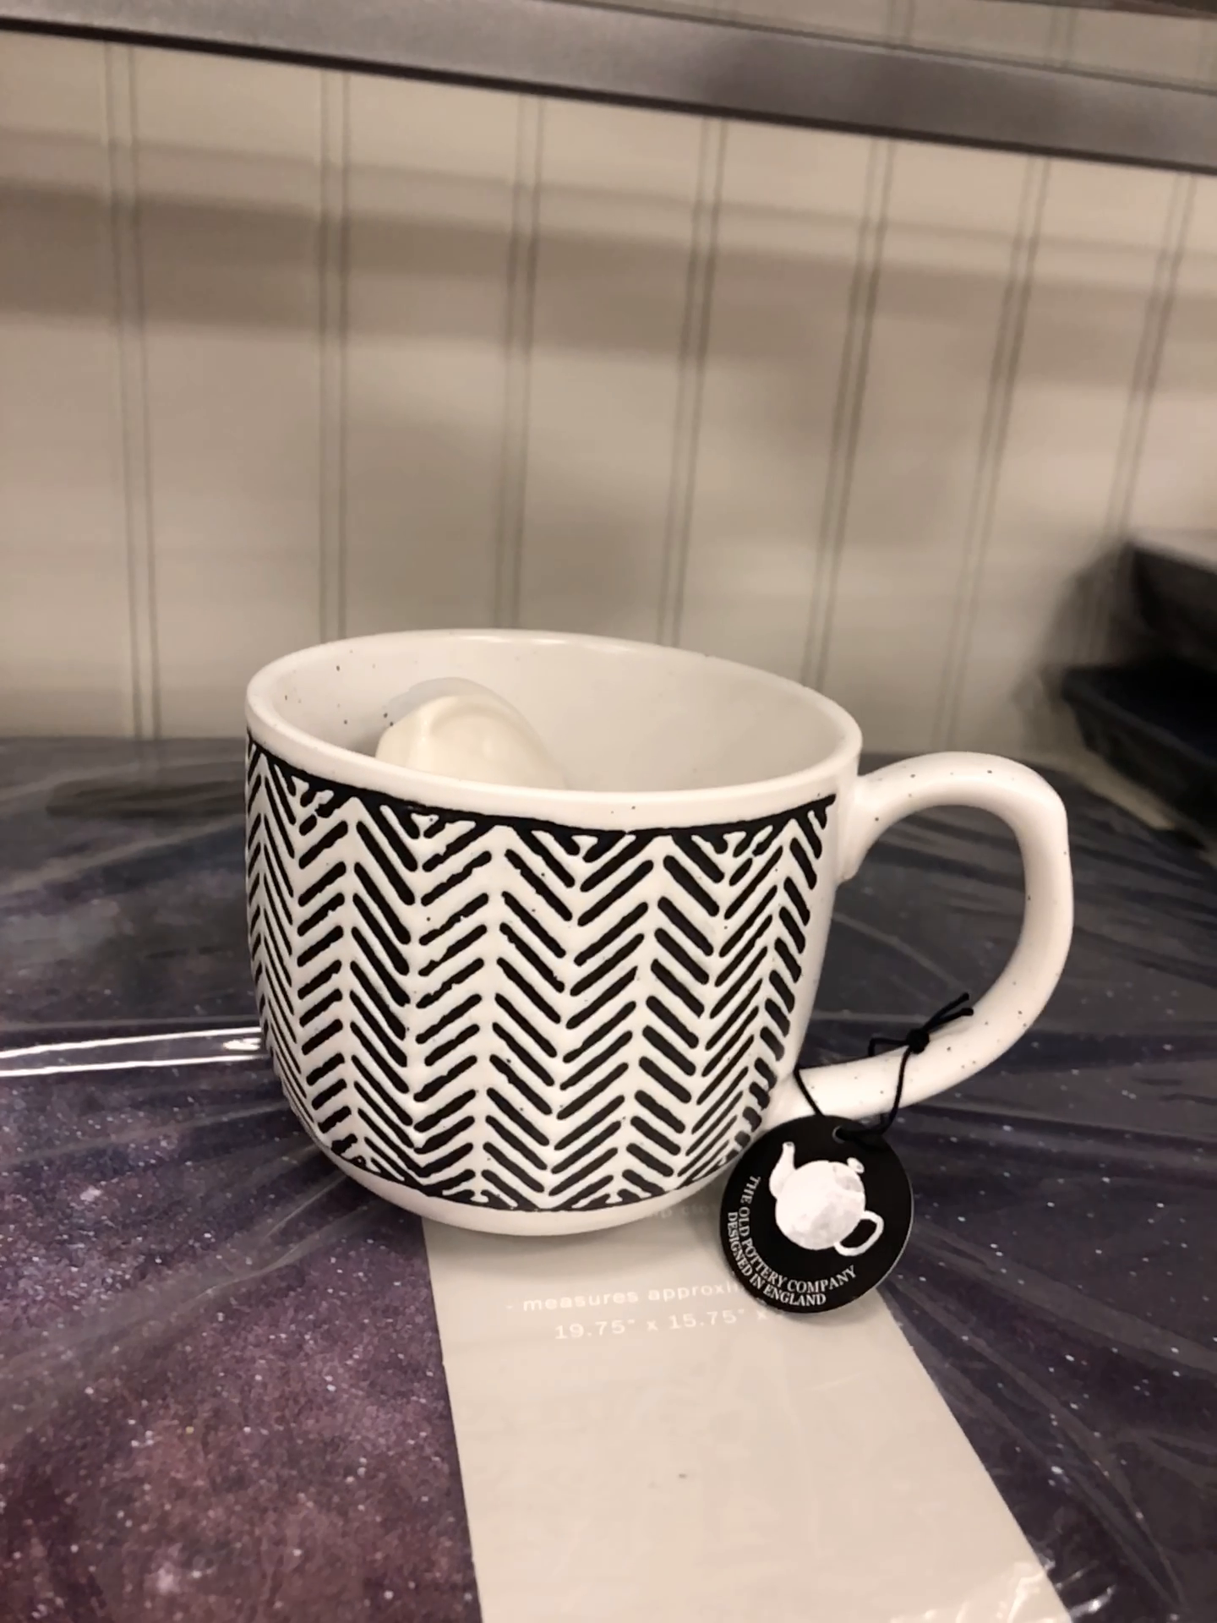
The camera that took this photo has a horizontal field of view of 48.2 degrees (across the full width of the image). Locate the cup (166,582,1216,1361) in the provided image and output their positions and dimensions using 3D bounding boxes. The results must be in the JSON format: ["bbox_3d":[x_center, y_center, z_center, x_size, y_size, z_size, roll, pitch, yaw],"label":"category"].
[{"bbox_3d":[0.013,0.017,0.230,0.140,0.079,0.091,7,21,6],"label":"cup"}]
